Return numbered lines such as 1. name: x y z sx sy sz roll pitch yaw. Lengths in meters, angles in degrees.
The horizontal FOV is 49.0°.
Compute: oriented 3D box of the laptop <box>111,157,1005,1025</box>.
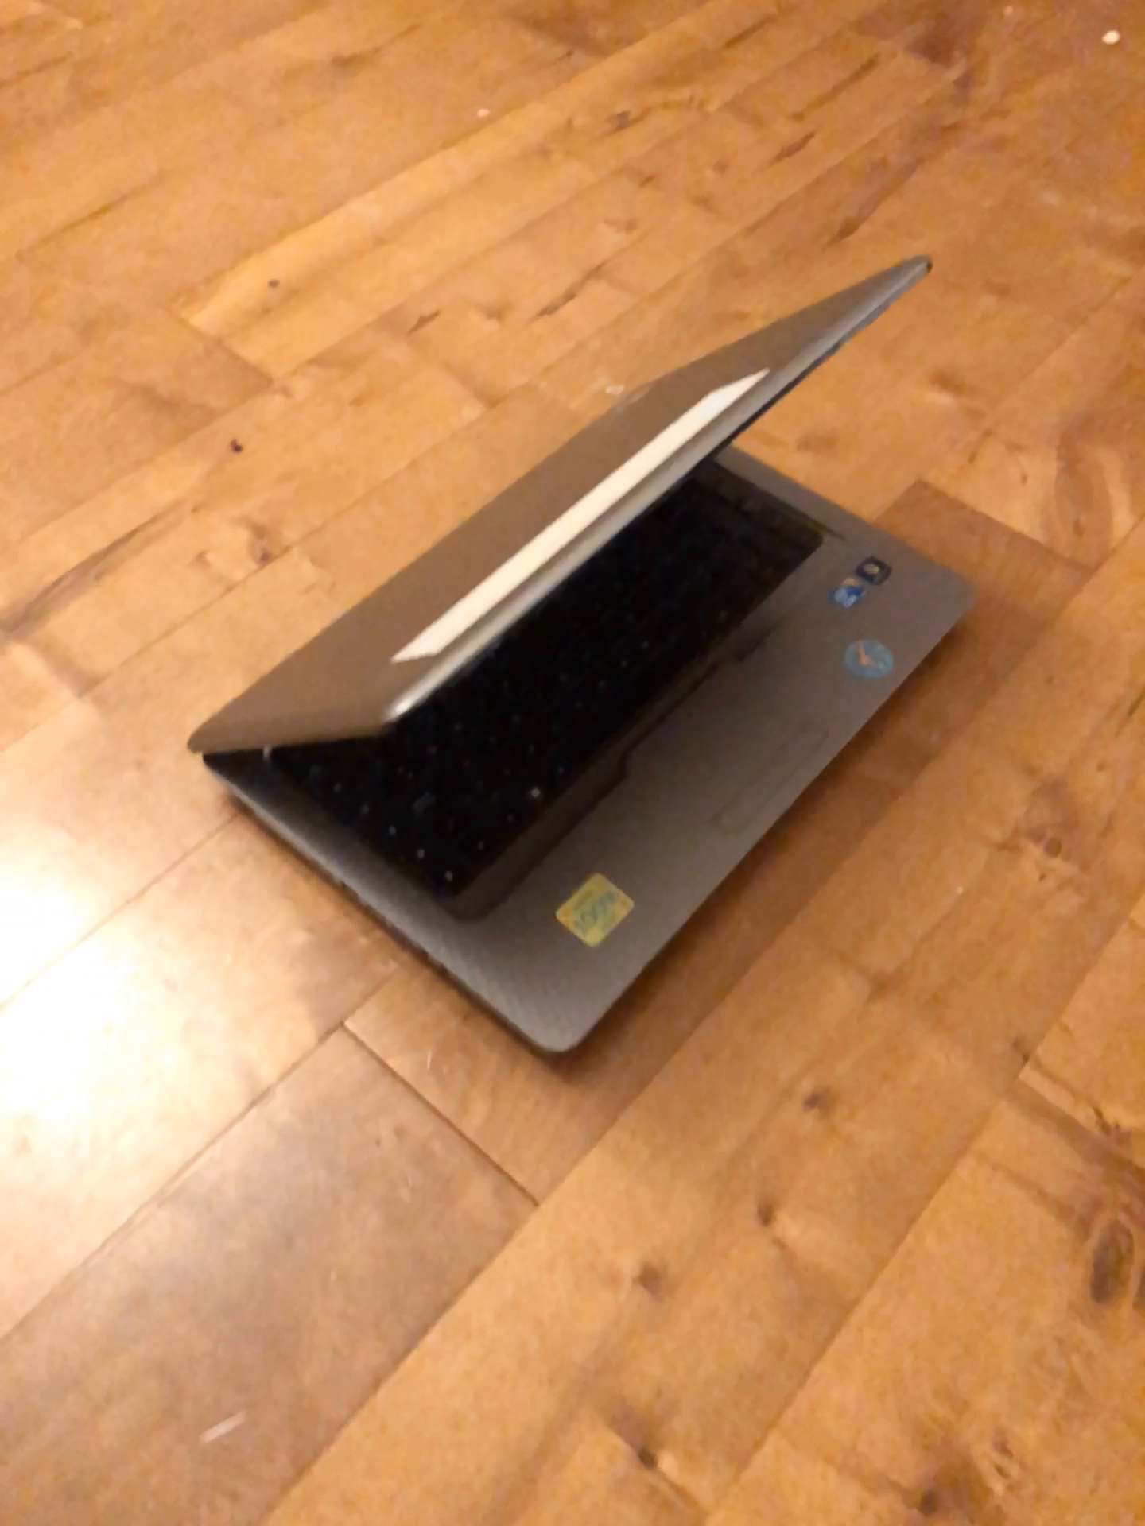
1. laptop: 0.008 -0.102 0.610 0.223 0.164 0.347 35 60 20
